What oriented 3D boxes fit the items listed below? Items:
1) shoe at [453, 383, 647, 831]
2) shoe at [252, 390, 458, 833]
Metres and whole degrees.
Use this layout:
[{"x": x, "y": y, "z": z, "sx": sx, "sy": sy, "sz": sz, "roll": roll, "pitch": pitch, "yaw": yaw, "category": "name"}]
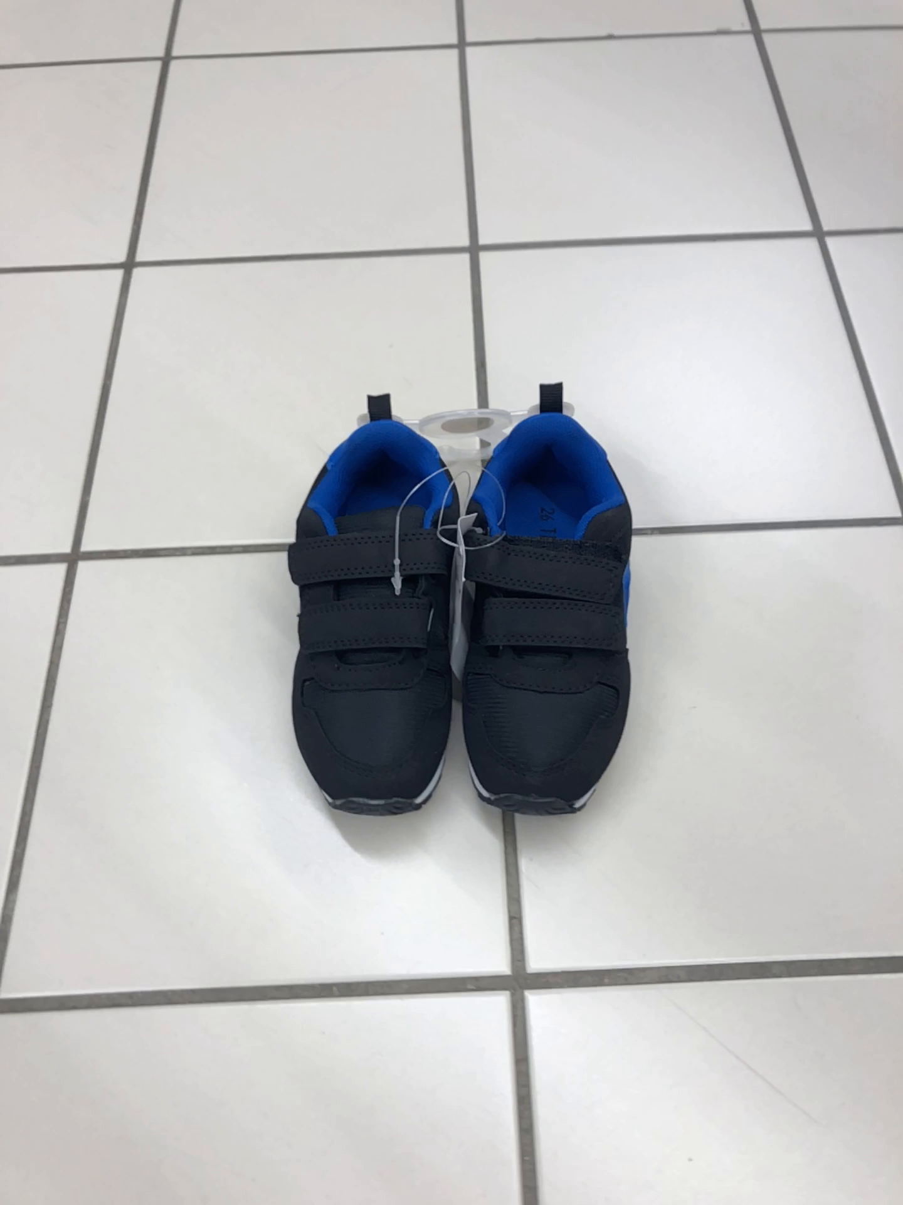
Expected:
[{"x": 0.040, "y": -0.001, "z": 0.422, "sx": 0.067, "sy": 0.073, "sz": 0.175, "roll": 2, "pitch": 60, "yaw": 3, "category": "shoe"}, {"x": -0.033, "y": 0.001, "z": 0.422, "sx": 0.067, "sy": 0.073, "sz": 0.175, "roll": 0, "pitch": 60, "yaw": 2, "category": "shoe"}]
